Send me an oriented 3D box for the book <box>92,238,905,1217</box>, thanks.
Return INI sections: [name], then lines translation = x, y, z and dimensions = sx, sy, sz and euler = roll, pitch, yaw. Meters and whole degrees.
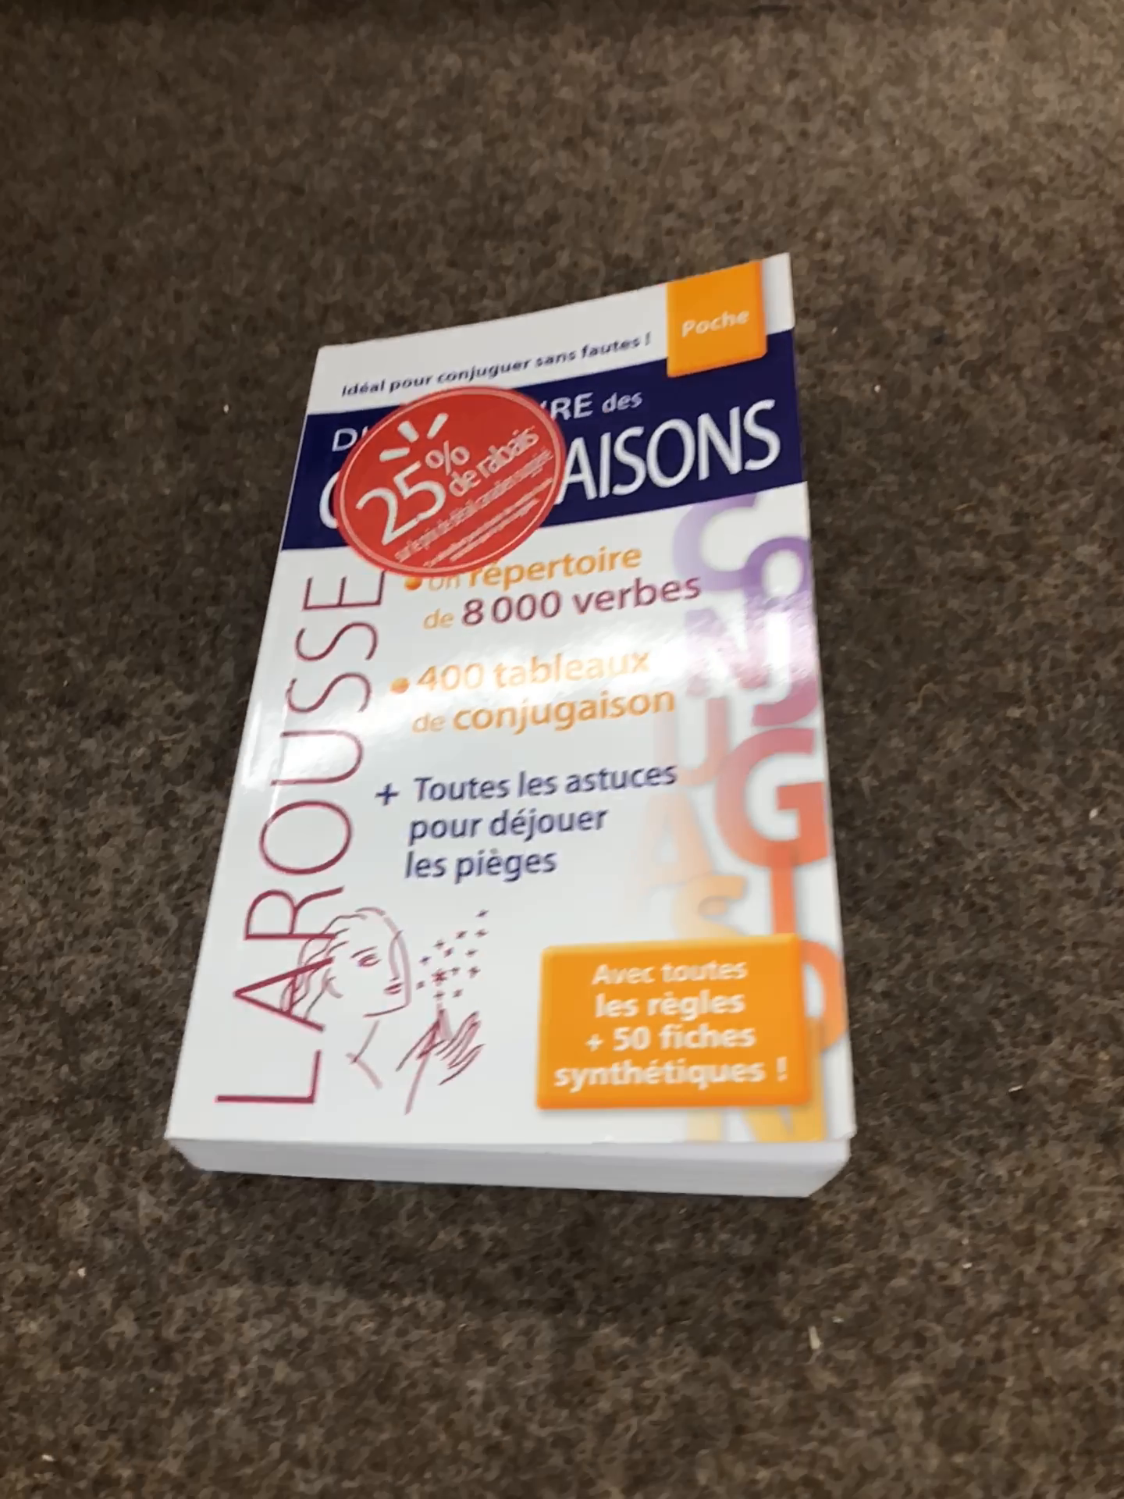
[book]
translation = -0.005, -0.013, 0.264
dimensions = 0.124, 0.059, 0.200
euler = 0, 61, 5
